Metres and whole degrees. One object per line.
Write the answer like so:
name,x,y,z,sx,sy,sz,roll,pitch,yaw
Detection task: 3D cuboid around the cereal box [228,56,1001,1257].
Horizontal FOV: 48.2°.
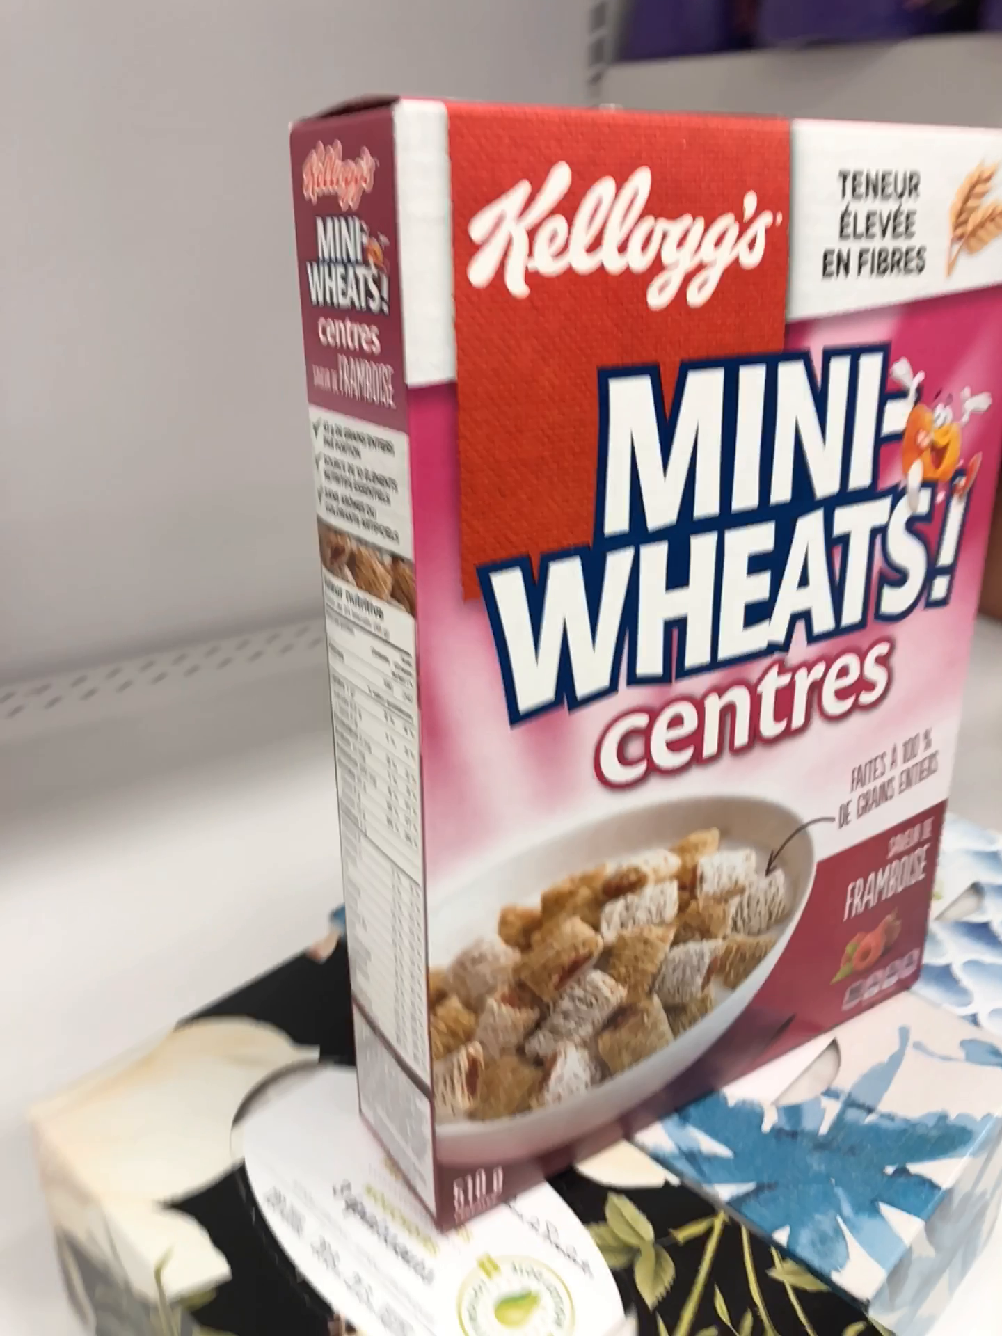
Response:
cereal box,0.047,-0.006,0.309,0.210,0.269,0.050,-13,24,-30
